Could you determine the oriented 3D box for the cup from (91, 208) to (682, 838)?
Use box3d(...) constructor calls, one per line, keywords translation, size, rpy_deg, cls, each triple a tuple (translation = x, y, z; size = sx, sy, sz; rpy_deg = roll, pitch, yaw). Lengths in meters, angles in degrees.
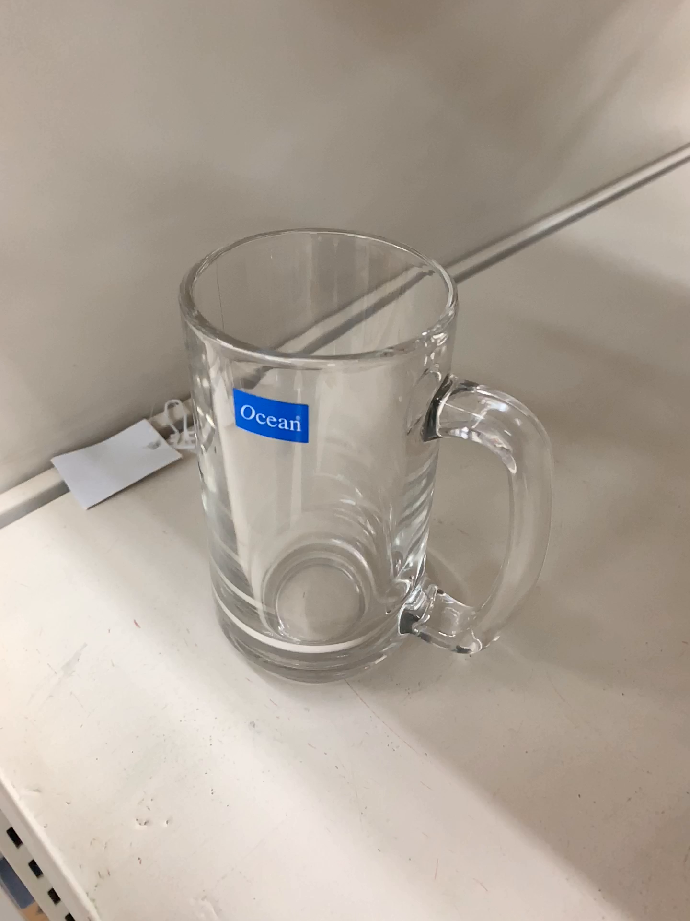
box3d(translation=(0.008, 0.014, 0.217), size=(0.120, 0.129, 0.080), rpy_deg=(27, 46, 27), cls="cup")
